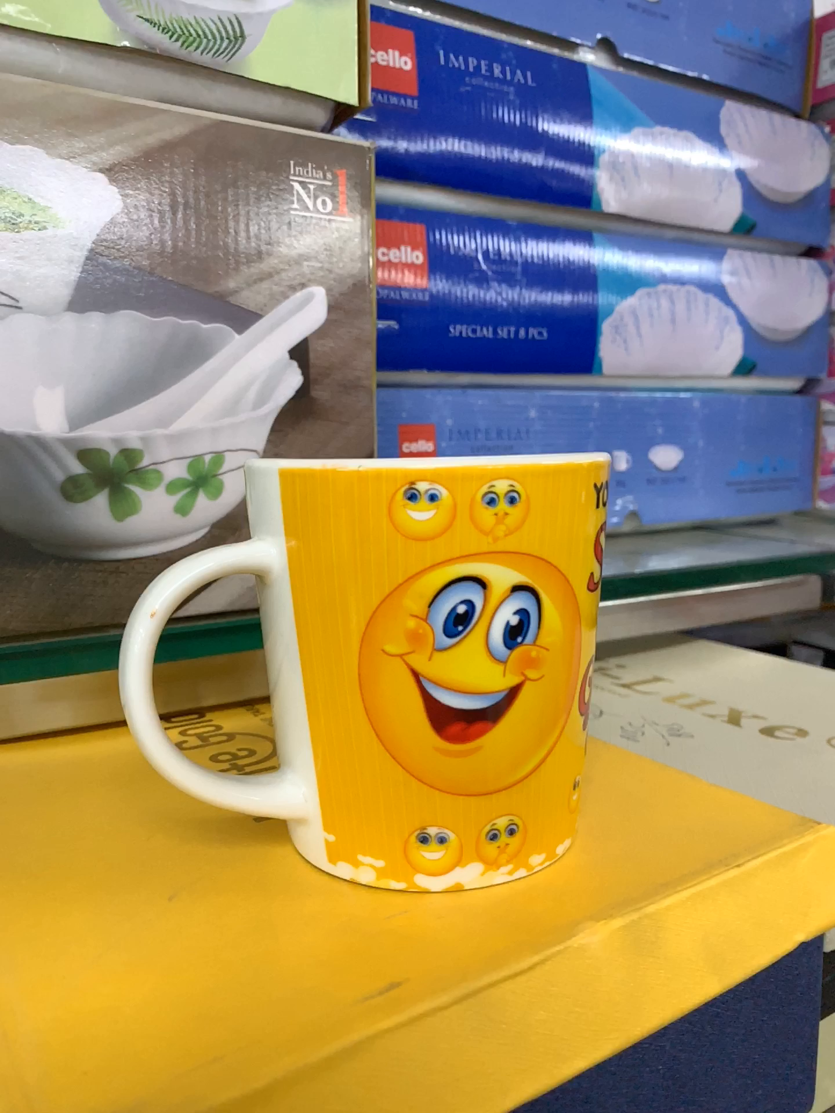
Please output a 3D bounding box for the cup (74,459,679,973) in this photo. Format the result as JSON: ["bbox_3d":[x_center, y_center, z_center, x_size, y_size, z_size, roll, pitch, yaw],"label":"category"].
[{"bbox_3d":[-0.013,0.024,0.205,0.120,0.090,0.070,-2,8,-19],"label":"cup"}]
